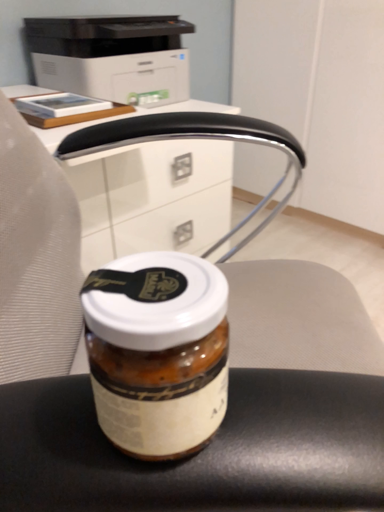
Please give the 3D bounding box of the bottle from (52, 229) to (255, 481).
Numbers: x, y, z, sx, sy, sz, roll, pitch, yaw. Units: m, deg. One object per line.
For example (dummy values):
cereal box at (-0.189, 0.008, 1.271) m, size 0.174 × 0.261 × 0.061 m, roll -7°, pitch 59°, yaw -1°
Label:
bottle at (-0.009, 0.036, 0.171) m, size 0.060 × 0.070 × 0.060 m, roll 5°, pitch 31°, yaw 9°
